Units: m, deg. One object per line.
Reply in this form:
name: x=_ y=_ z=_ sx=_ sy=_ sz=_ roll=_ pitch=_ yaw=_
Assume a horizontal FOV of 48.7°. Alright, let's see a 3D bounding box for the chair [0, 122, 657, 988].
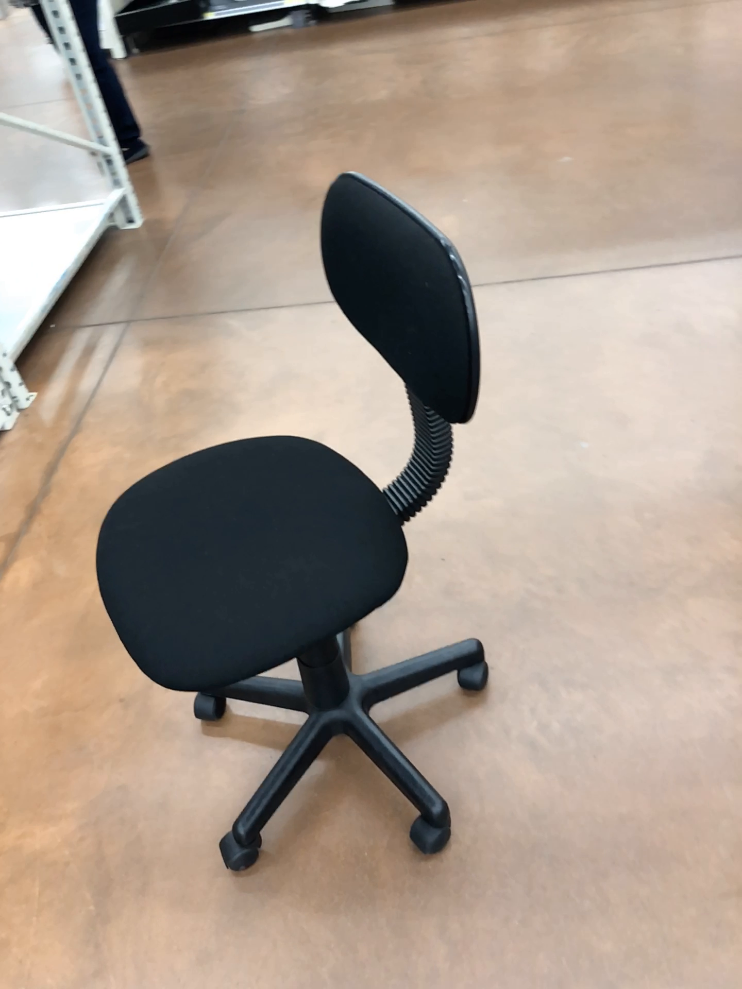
chair: x=-0.149 y=0.092 z=1.077 sx=0.660 sy=0.797 sz=0.672 roll=-23 pitch=42 yaw=-13
